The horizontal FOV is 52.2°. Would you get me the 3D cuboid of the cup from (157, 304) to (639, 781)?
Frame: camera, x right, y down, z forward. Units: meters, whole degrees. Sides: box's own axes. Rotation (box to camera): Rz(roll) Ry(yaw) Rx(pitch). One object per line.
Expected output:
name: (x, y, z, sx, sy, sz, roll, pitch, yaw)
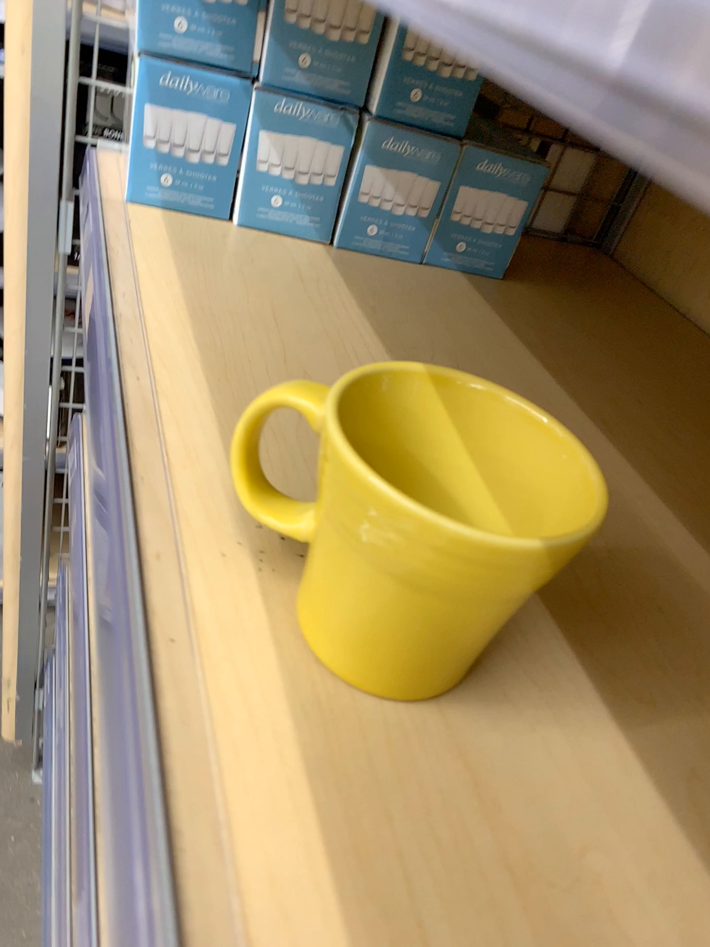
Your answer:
cup: (0.019, 0.018, 0.275, 0.139, 0.088, 0.104, 25, 35, 6)
